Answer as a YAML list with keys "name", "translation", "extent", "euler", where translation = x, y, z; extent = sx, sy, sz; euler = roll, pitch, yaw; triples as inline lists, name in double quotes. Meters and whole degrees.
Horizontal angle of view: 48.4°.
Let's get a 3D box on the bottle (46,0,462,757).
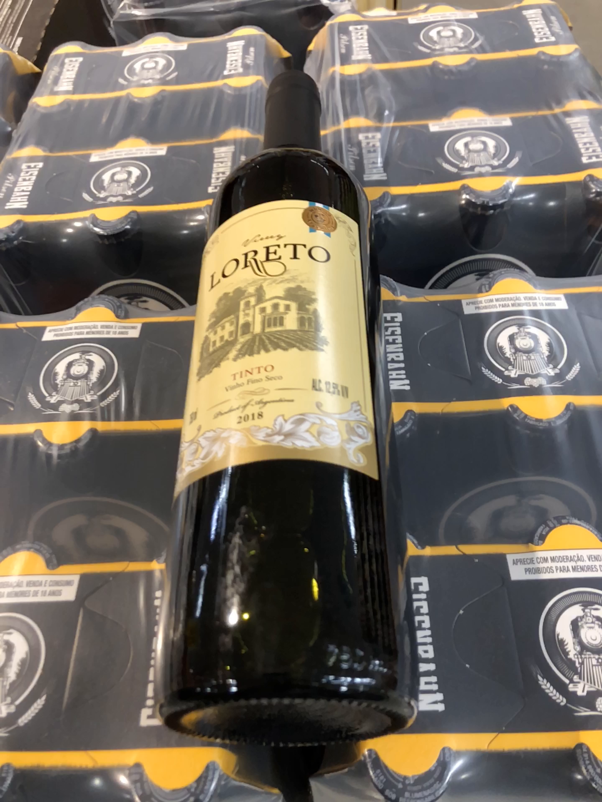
- name: "bottle"
  translation: [-0.006, -0.054, 0.264]
  extent: [0.080, 0.080, 0.332]
  euler: [-11, 53, 14]
